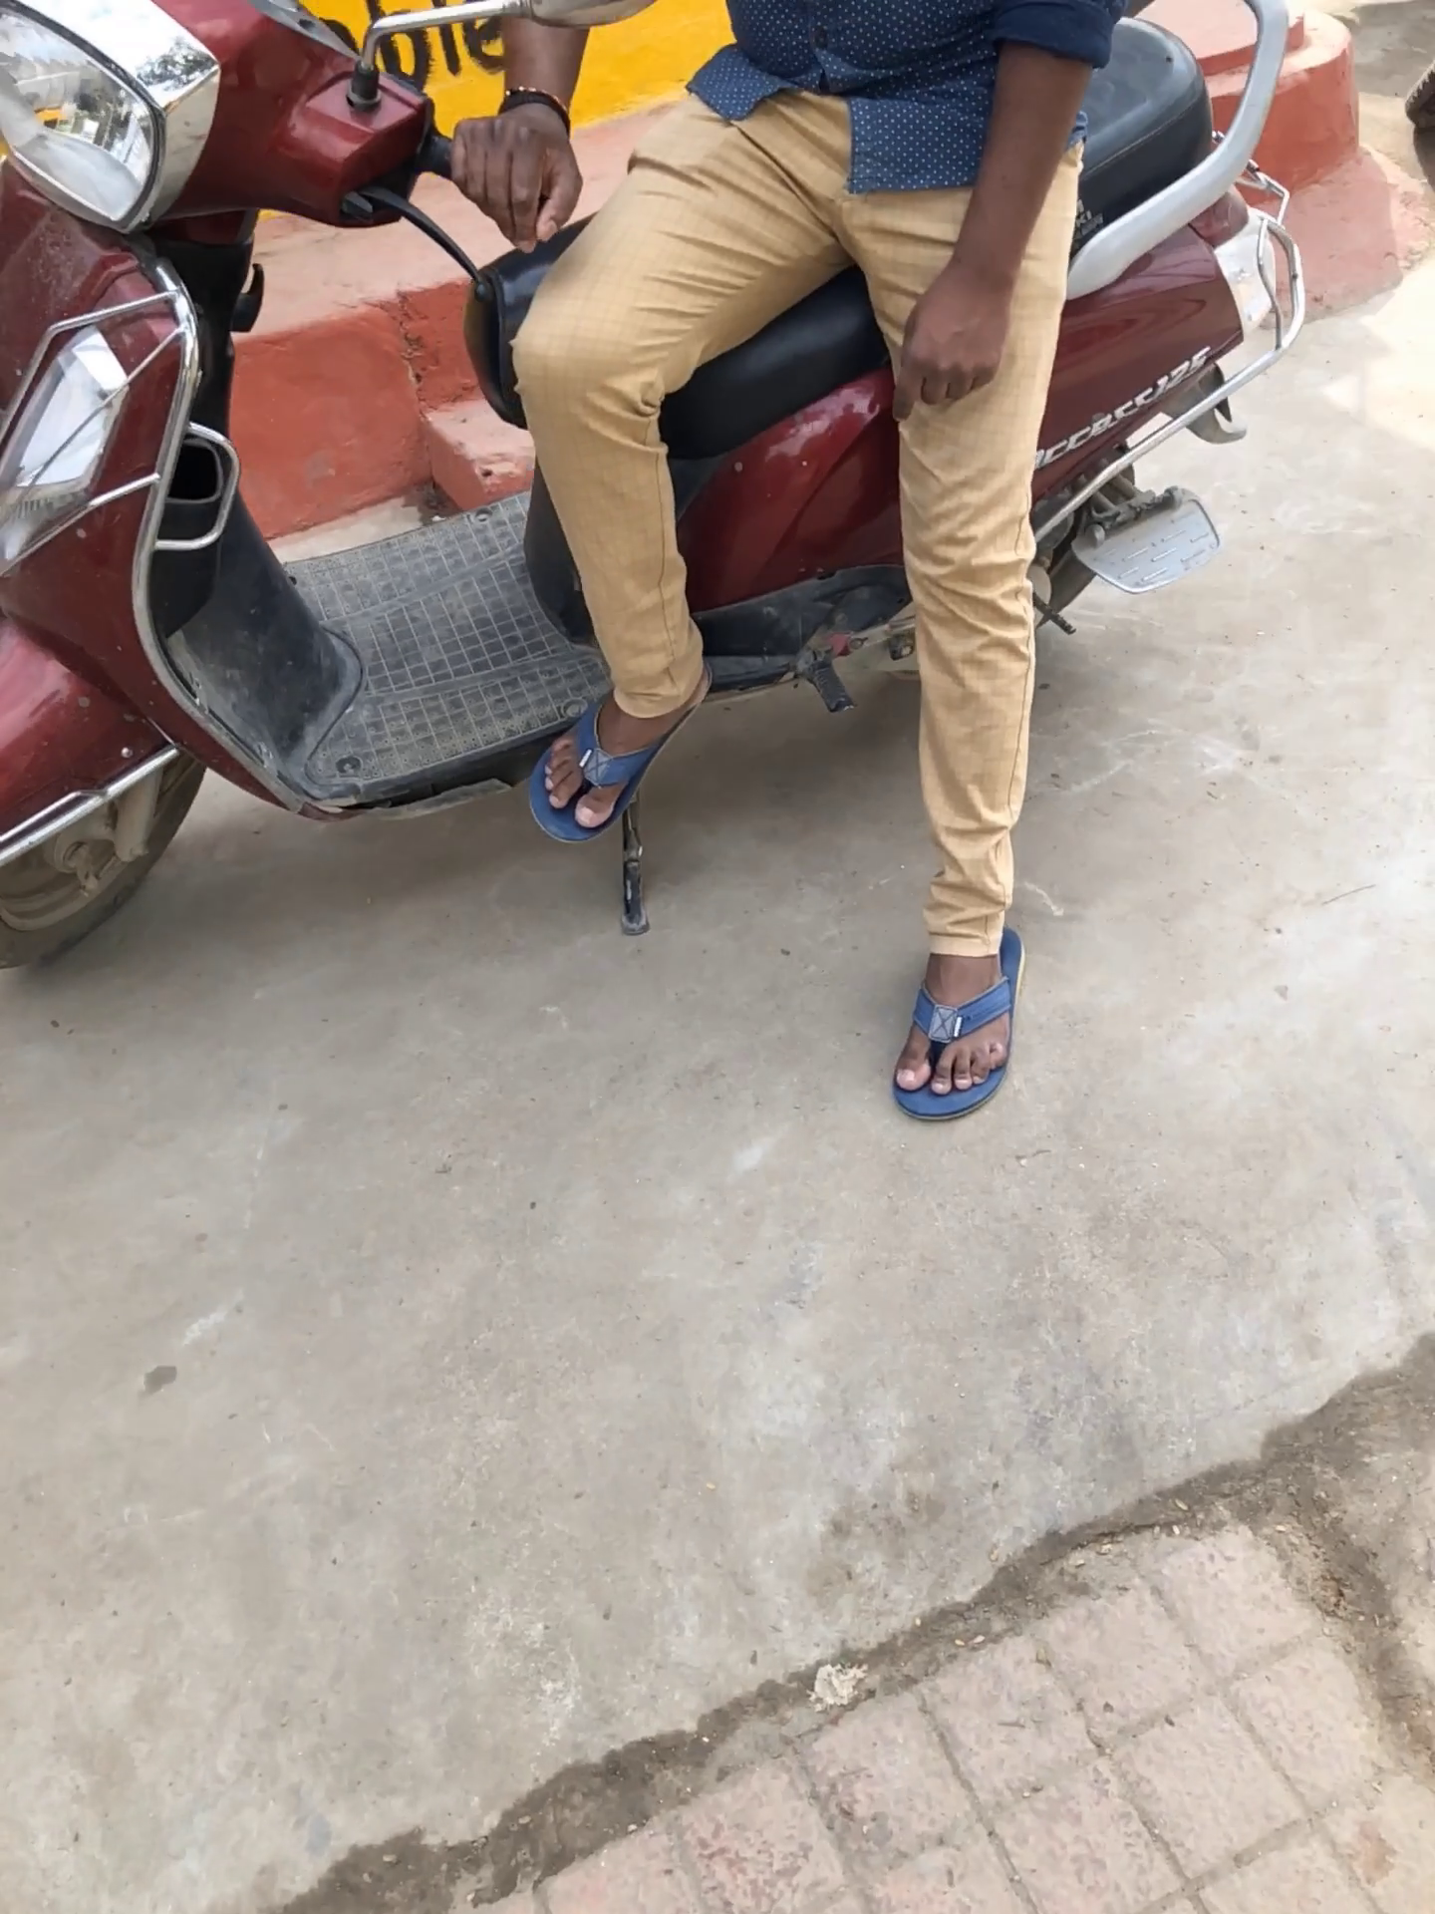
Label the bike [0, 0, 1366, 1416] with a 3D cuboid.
[{"bbox_3d":[-0.172,-0.456,1.501,1.380,1.087,0.630,-24,42,-18],"label":"bike"}]
